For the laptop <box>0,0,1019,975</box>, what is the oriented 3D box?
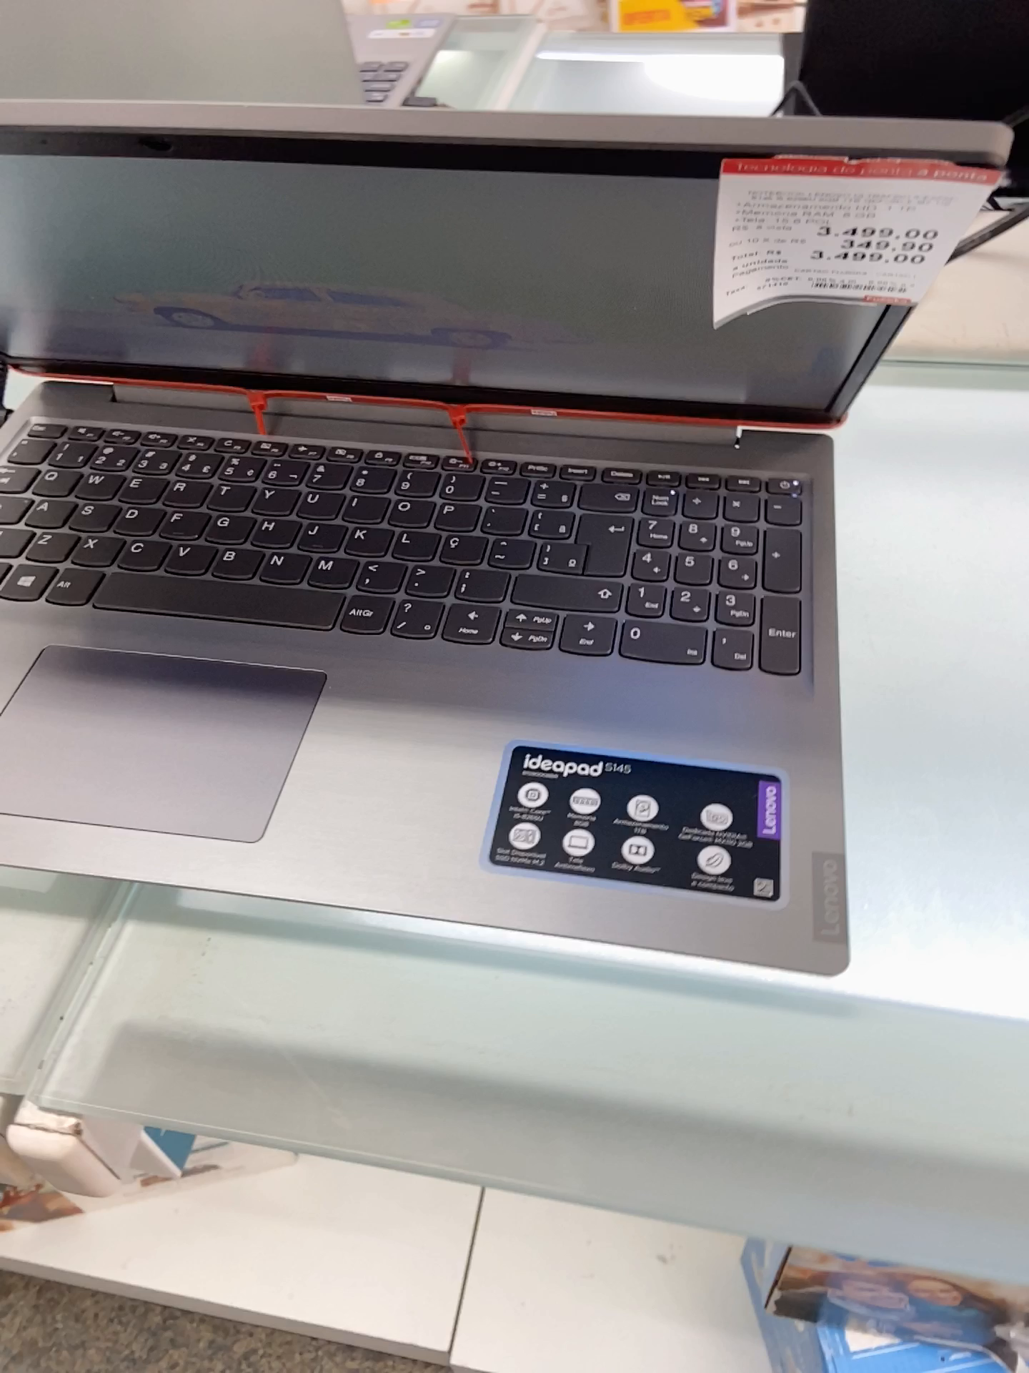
[{"bbox_3d":[-0.074,-0.092,0.329,0.359,0.175,0.245,5,49,10],"label":"laptop"}]
